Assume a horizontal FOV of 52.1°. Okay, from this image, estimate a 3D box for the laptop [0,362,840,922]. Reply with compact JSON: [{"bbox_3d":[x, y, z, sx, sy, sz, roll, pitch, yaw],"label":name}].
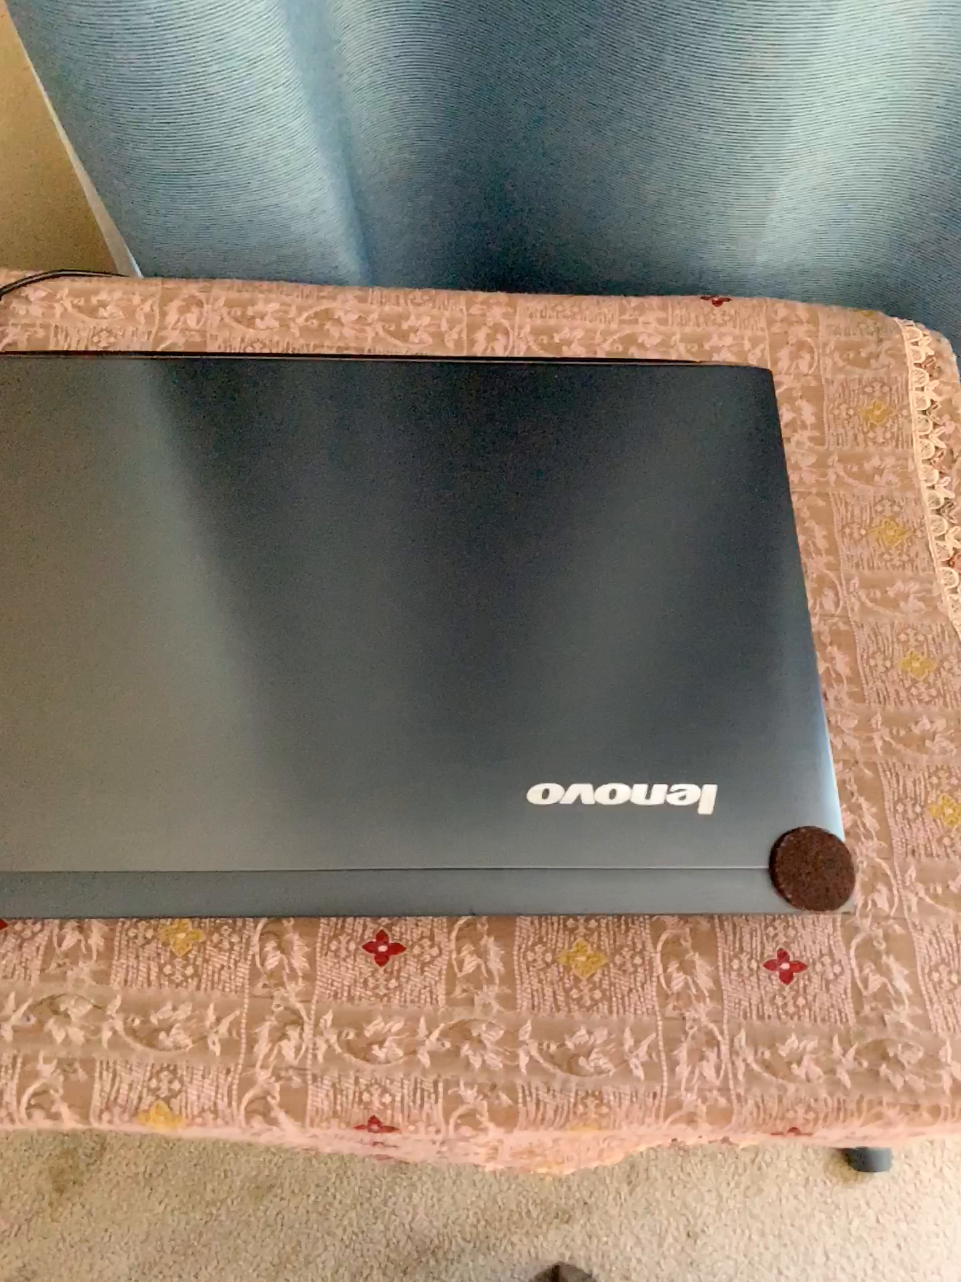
[{"bbox_3d":[-0.056,-0.010,0.377,0.356,0.011,0.223,0,69,0],"label":"laptop"}]
